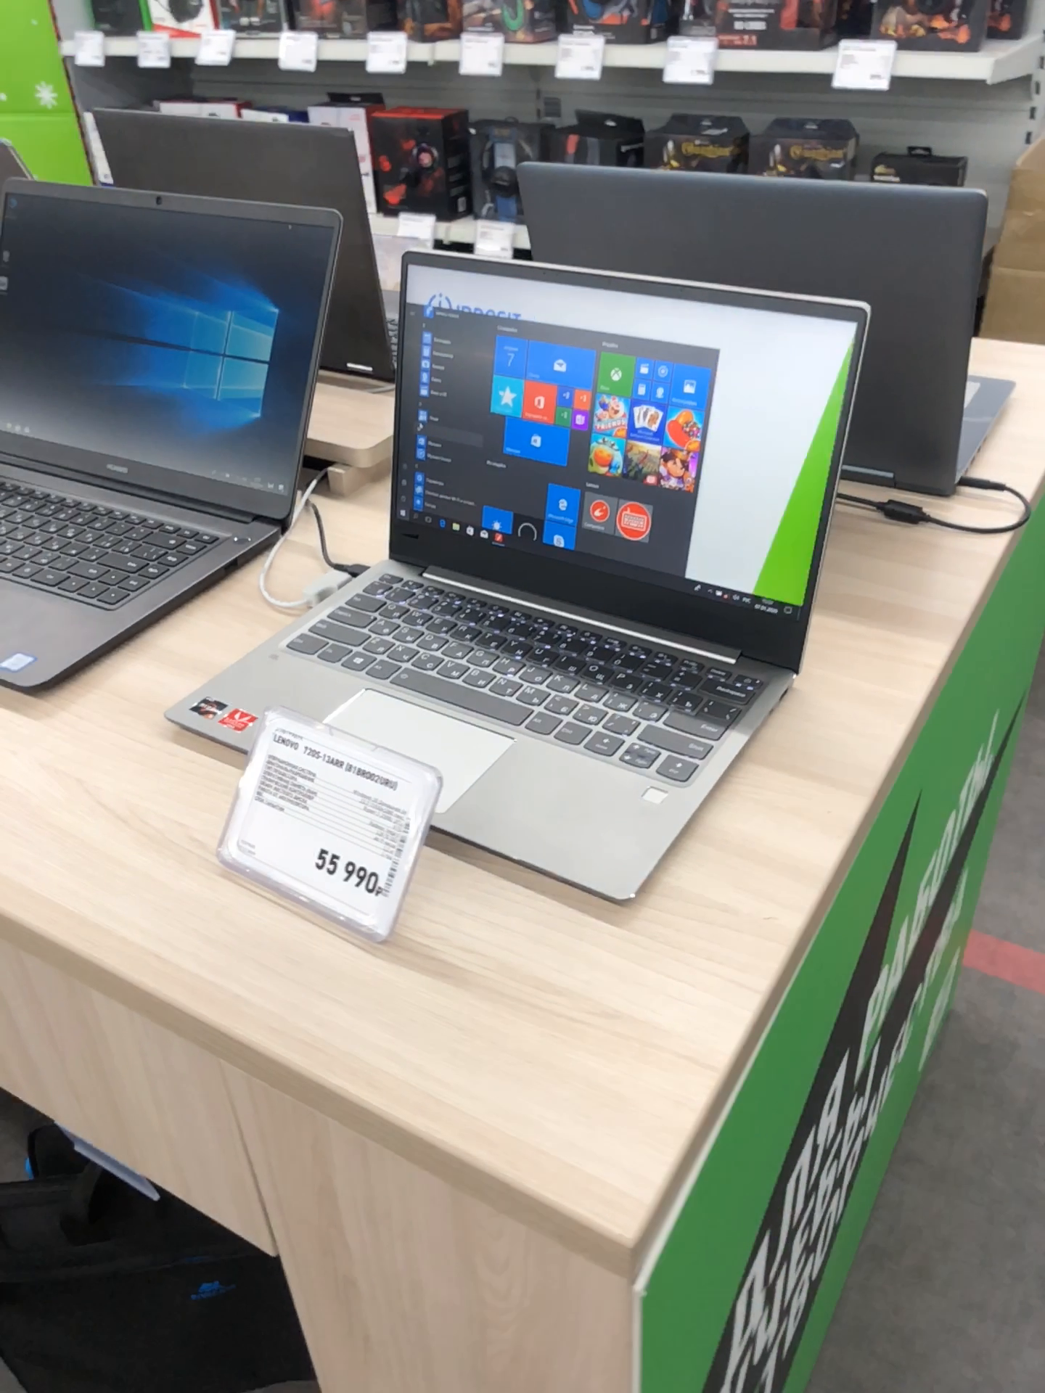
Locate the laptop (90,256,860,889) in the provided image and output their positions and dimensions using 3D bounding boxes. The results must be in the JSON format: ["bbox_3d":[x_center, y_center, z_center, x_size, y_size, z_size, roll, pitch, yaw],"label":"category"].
[{"bbox_3d":[-0.012,-0.095,0.625,0.285,0.187,0.263,18,41,28],"label":"laptop"}]

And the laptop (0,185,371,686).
[{"bbox_3d":[-0.360,-0.217,0.825,0.344,0.188,0.341,16,40,26],"label":"laptop"}]
